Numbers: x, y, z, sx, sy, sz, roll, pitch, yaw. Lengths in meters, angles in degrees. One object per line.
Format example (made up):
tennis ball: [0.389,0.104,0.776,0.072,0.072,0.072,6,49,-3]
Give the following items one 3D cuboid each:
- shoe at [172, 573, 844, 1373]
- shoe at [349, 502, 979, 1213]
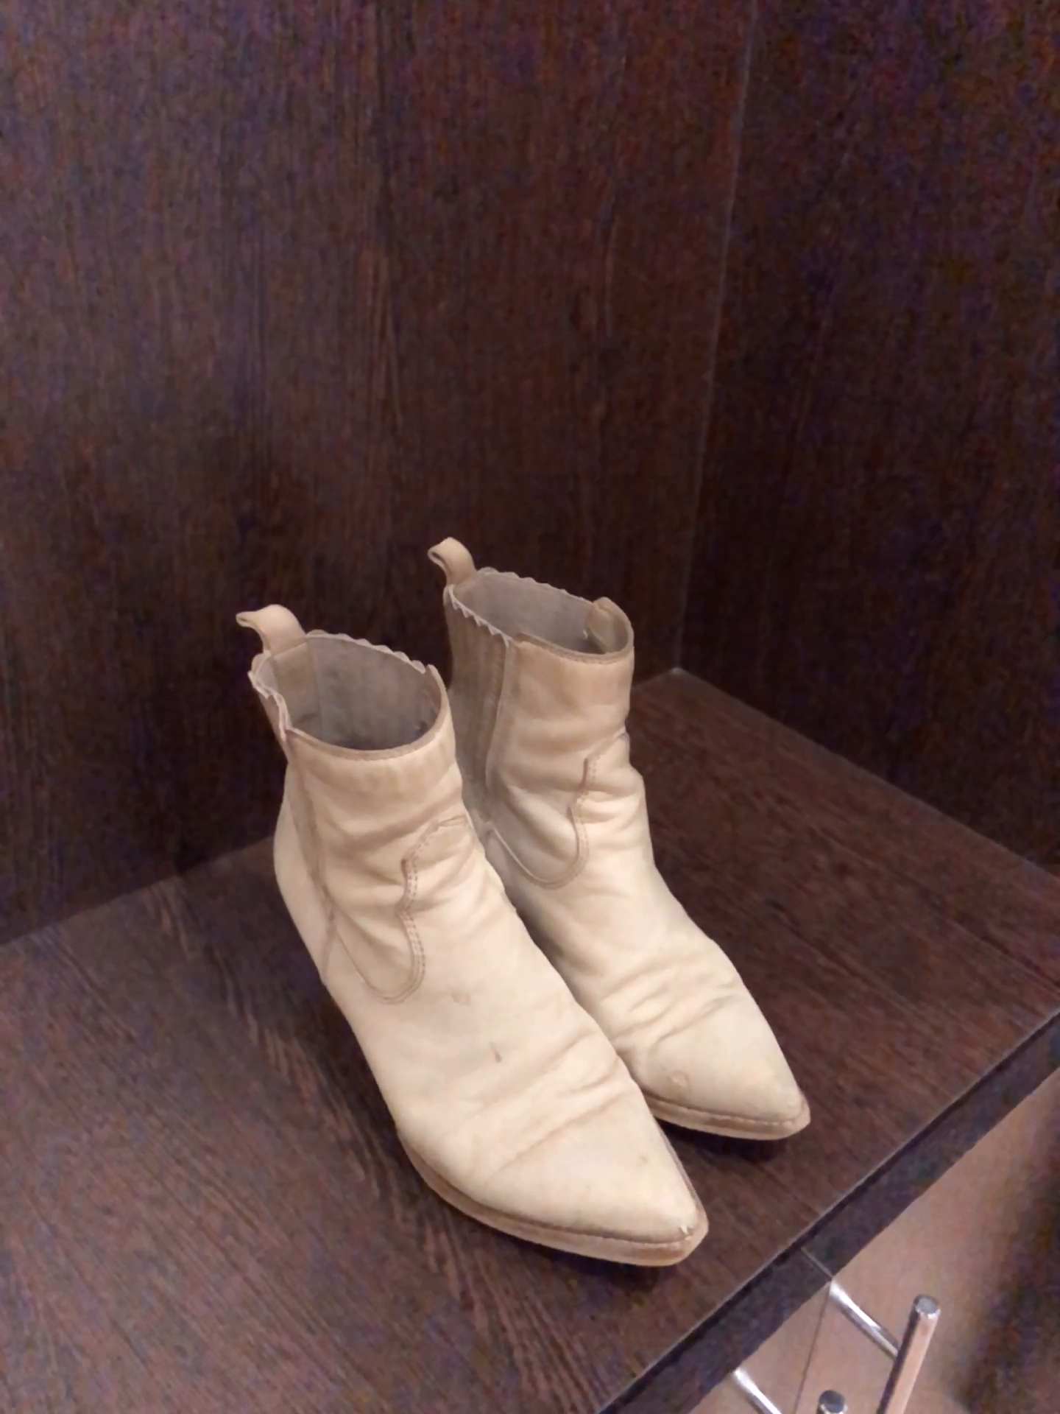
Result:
shoe: [-0.027,0.083,0.472,0.100,0.169,0.271,-23,39,-33]
shoe: [0.032,0.043,0.522,0.100,0.169,0.281,-18,36,-30]
